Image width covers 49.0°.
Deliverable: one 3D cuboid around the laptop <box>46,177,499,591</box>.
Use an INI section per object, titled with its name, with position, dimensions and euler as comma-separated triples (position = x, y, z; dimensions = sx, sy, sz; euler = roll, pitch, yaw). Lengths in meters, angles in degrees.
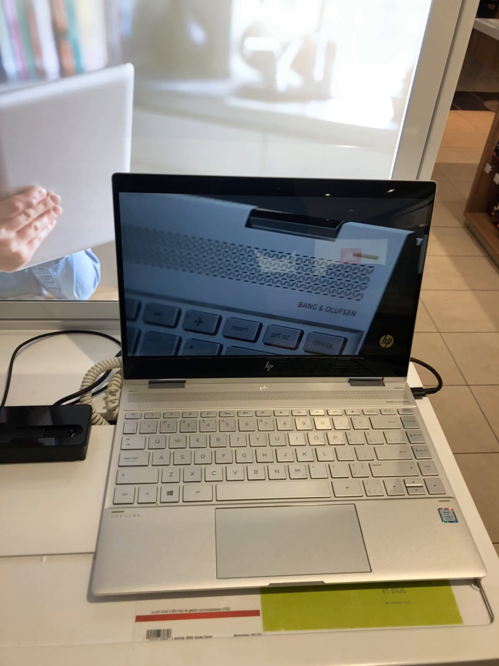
[laptop]
position = 0.031, 0.022, 0.462
dimensions = 0.299, 0.193, 0.283
euler = 0, 39, -5
